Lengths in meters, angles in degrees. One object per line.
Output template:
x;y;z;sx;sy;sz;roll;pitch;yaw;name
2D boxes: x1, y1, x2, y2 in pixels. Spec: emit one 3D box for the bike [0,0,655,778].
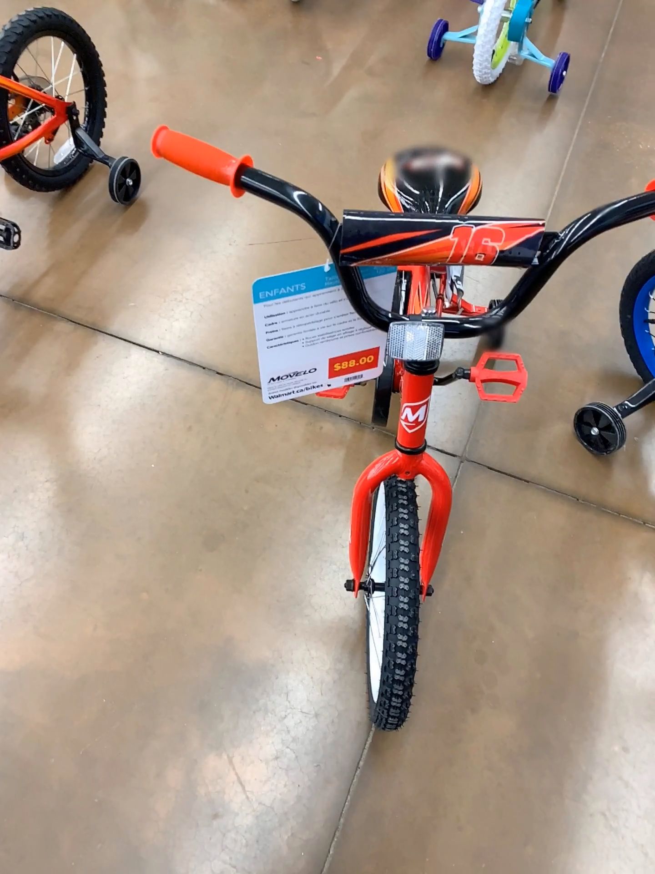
0.147;-0.161;1.025;0.584;0.850;1.074;5;55;2;bike
